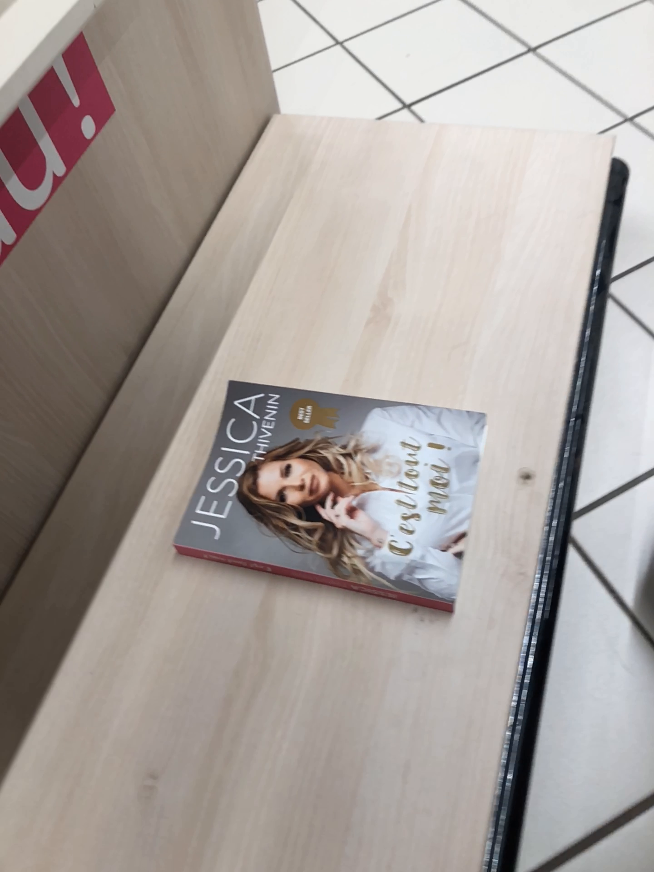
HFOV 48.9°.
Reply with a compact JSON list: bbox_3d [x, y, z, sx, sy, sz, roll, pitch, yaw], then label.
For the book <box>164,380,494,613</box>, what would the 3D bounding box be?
[{"bbox_3d":[0.005,0.036,0.531,0.212,0.020,0.146,9,59,15],"label":"book"}]
